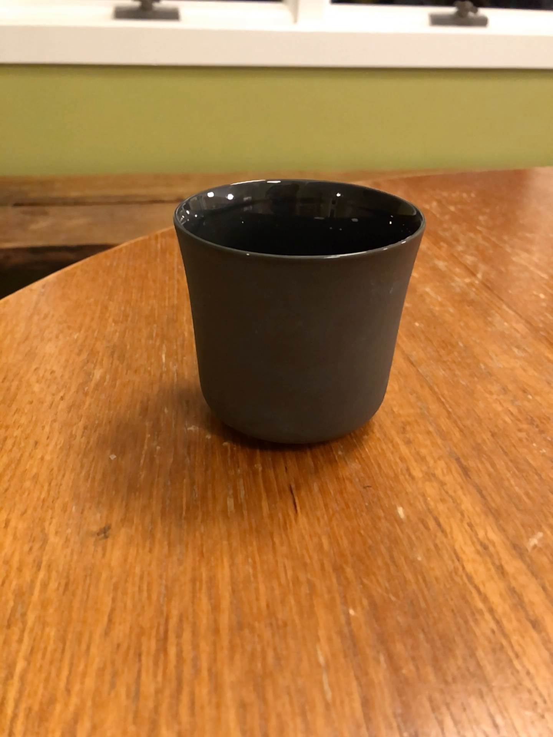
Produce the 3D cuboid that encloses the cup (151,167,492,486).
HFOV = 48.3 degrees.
[{"bbox_3d":[0.008,-0.020,0.202,0.079,0.068,0.075,1,31,-1],"label":"cup"}]
